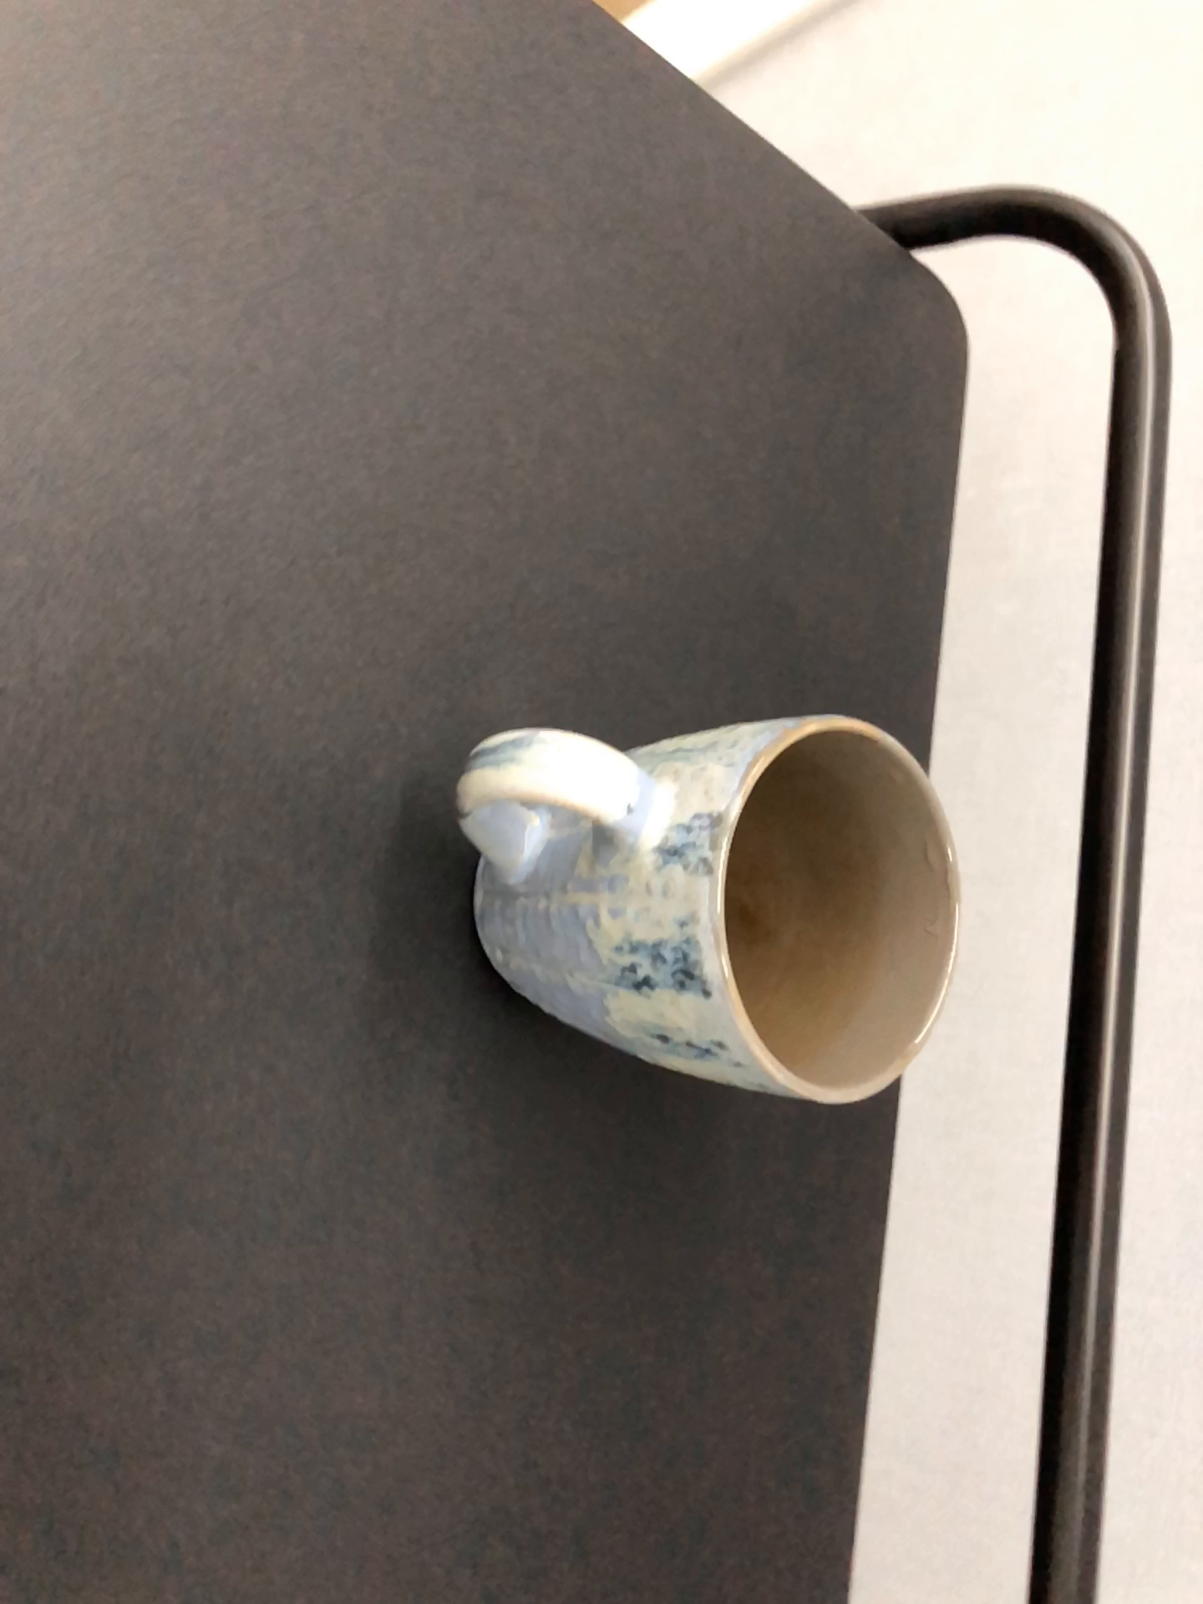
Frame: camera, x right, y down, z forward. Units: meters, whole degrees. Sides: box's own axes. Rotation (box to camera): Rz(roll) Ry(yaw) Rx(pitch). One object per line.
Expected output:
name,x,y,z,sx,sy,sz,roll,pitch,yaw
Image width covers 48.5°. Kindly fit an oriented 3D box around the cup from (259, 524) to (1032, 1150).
cup,0.013,0.016,0.303,0.121,0.107,0.089,27,69,-39
